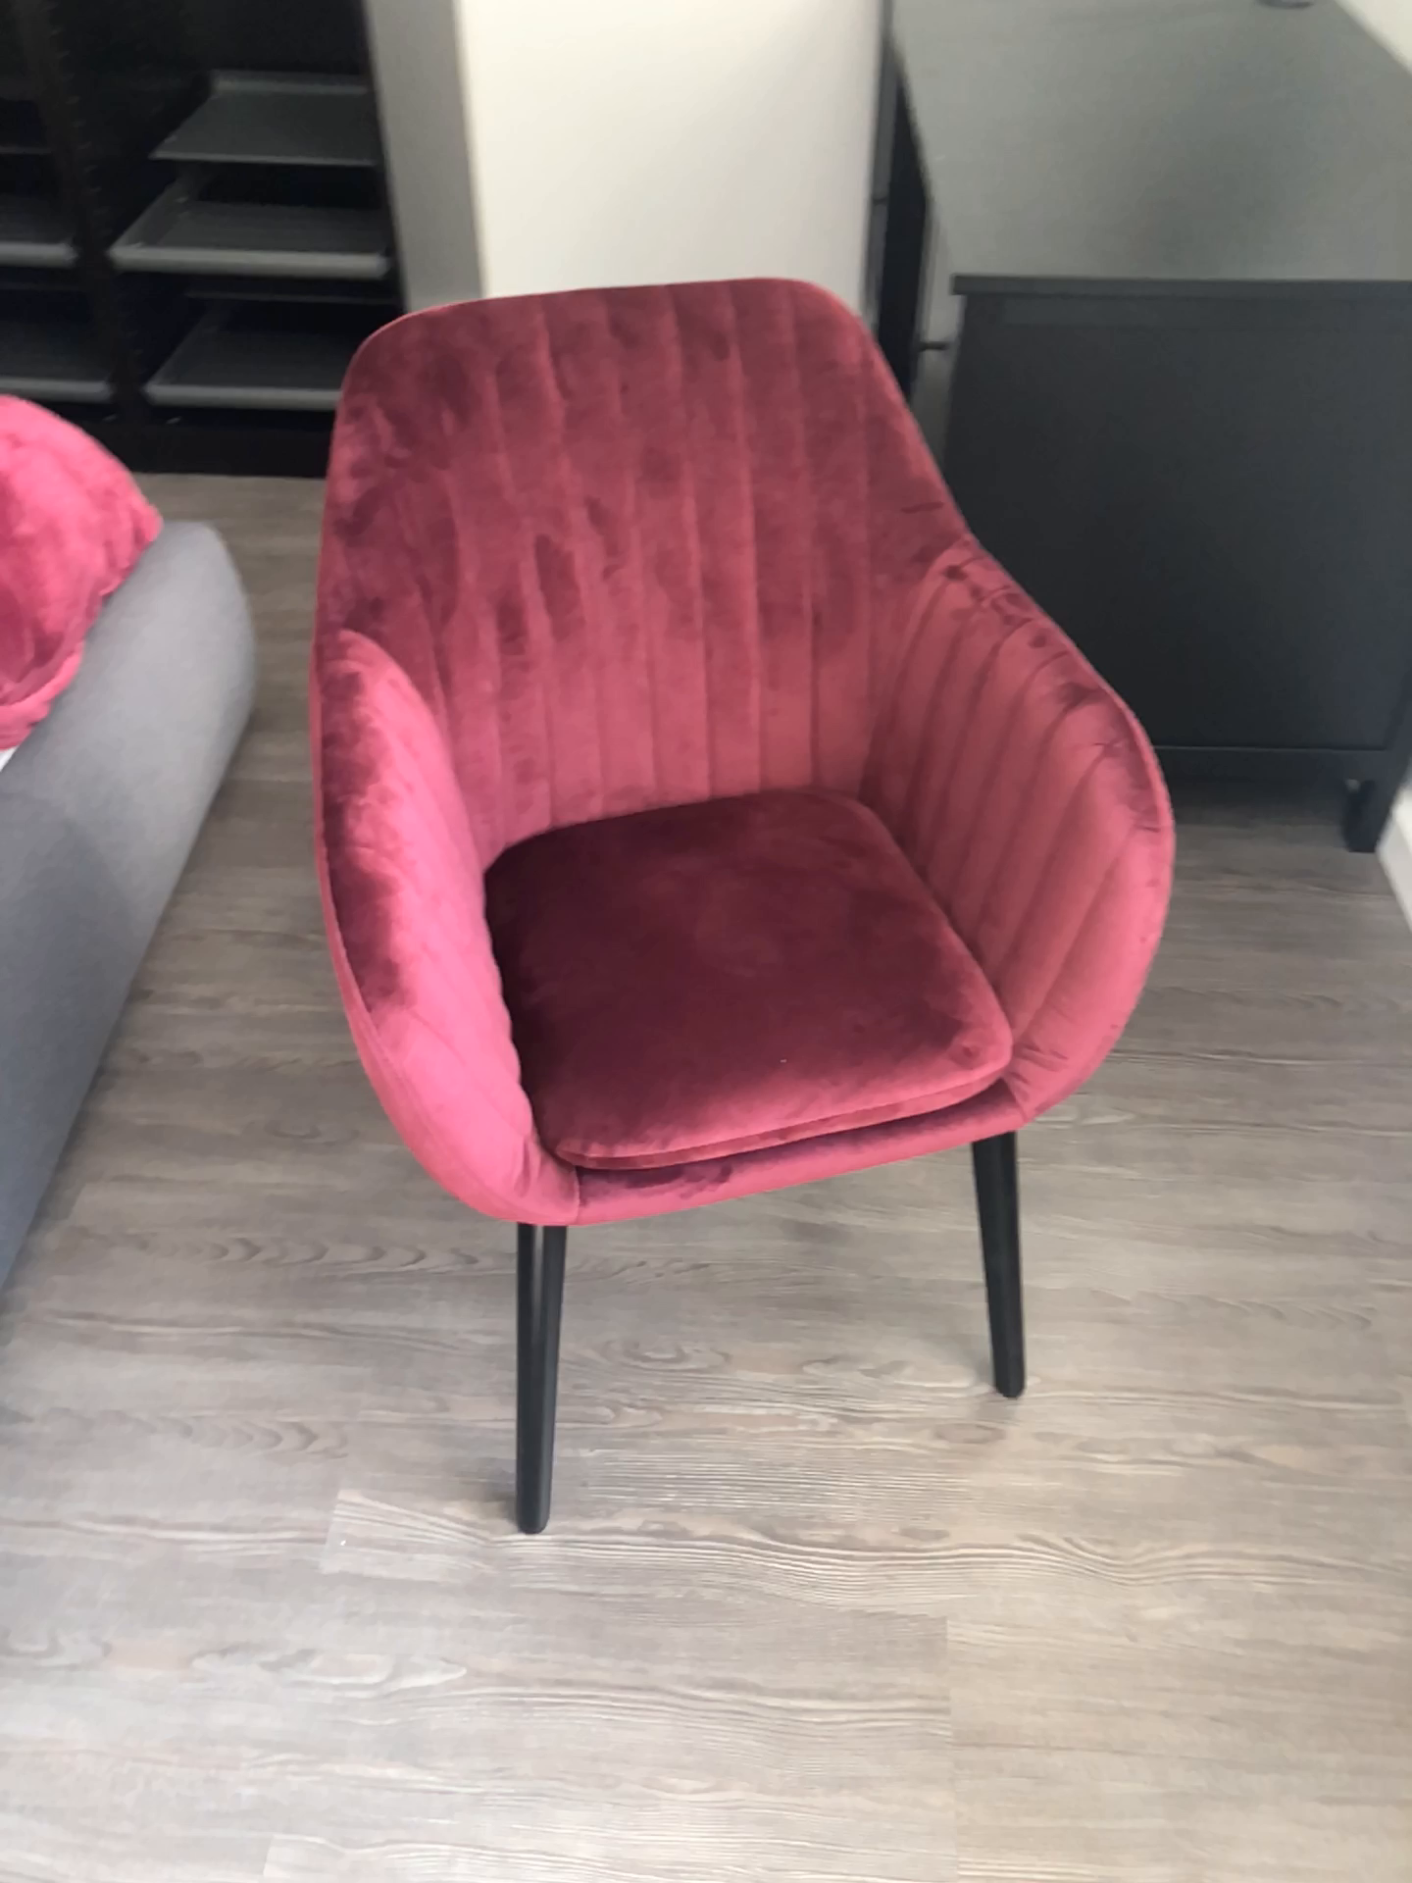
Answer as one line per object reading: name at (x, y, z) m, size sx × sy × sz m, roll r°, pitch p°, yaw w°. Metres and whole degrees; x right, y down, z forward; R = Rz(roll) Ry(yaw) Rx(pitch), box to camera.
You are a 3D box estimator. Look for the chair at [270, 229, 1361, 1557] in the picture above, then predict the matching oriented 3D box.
chair at (0.011, -0.023, 1.237) m, size 0.541 × 0.835 × 0.553 m, roll -9°, pitch 44°, yaw -10°
